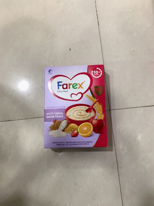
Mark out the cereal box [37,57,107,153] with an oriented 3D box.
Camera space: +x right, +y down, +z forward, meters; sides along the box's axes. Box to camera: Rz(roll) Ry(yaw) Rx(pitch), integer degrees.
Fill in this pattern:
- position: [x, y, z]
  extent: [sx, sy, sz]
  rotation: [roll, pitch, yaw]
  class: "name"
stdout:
- position: [-0.013, 0.004, 0.381]
  extent: [0.150, 0.060, 0.210]
  rotation: [-2, 82, 1]
  class: "cereal box"
